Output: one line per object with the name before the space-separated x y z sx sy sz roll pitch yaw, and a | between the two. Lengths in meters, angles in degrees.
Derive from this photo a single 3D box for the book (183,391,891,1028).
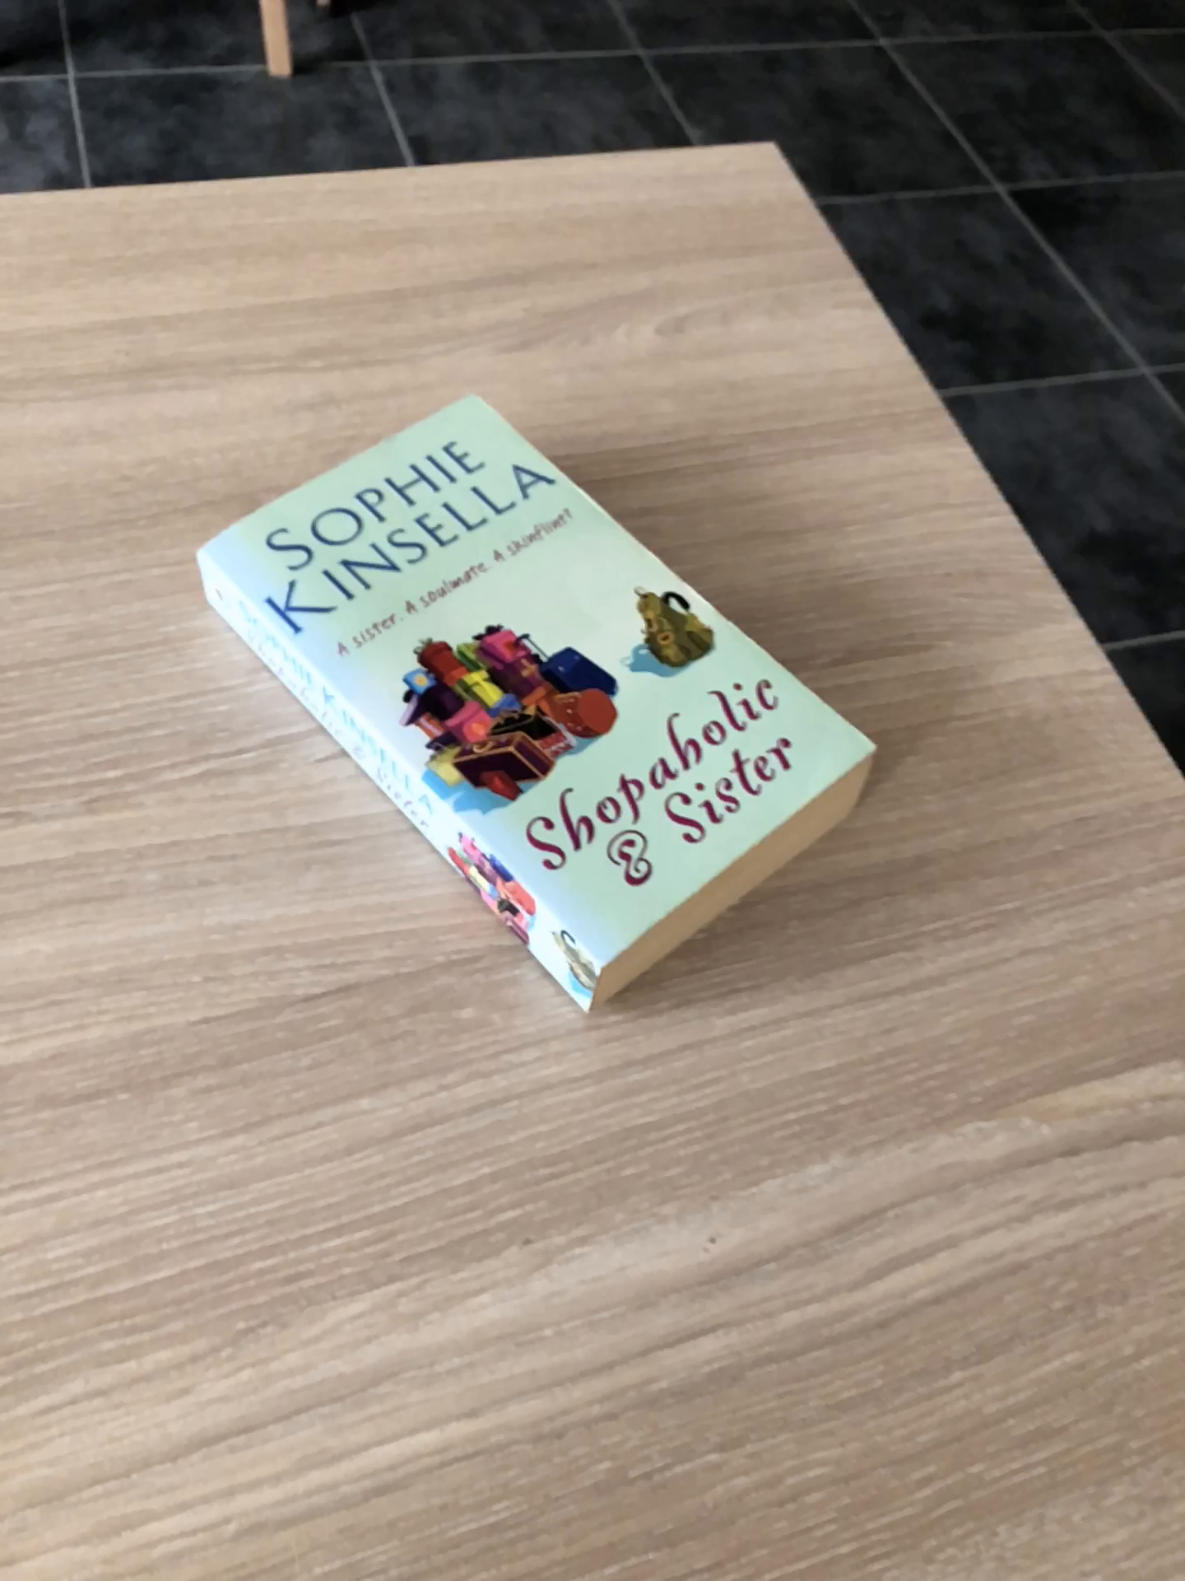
book | -0.020 -0.034 0.379 0.107 0.032 0.180 -35 66 -26
